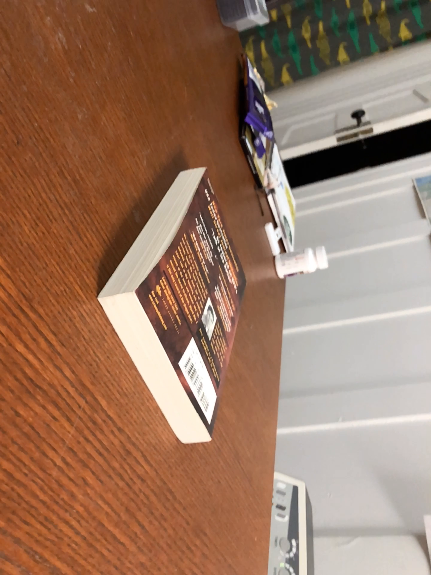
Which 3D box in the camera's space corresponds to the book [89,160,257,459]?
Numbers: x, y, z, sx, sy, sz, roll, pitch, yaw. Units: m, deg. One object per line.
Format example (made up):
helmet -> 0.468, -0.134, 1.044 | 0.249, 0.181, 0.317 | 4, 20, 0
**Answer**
book -> -0.014, 0.001, 0.390 | 0.221, 0.030, 0.140 | -71, 144, -55
